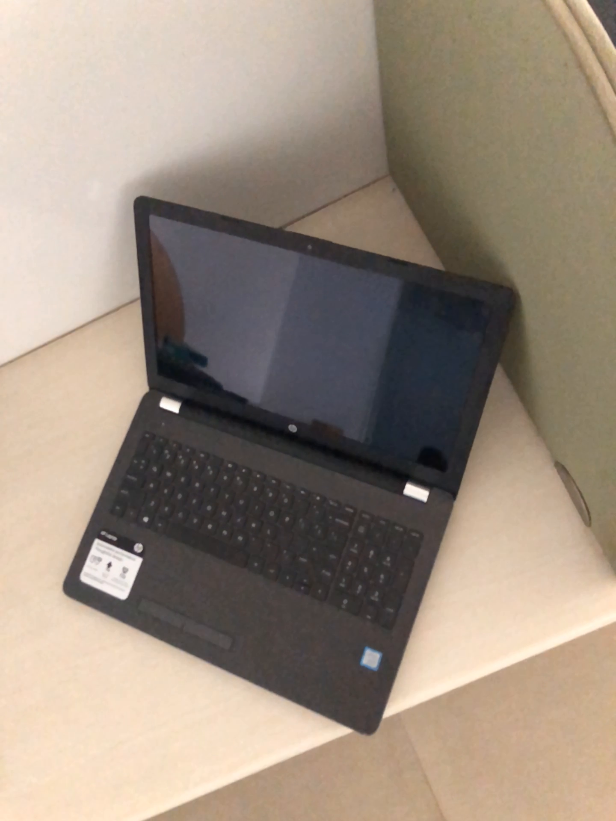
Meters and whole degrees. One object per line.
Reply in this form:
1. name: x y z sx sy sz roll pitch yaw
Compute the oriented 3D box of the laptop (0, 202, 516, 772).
1. laptop: -0.049 0.051 0.662 0.366 0.168 0.393 19 79 17
